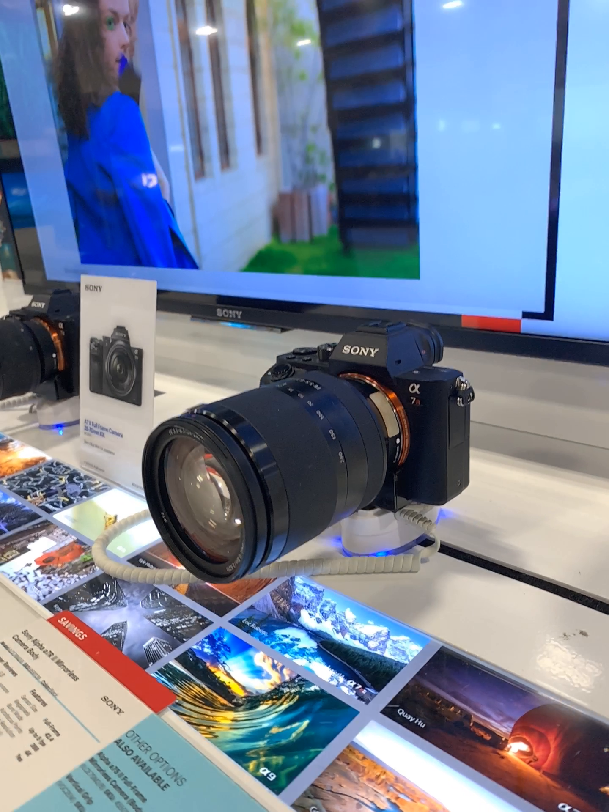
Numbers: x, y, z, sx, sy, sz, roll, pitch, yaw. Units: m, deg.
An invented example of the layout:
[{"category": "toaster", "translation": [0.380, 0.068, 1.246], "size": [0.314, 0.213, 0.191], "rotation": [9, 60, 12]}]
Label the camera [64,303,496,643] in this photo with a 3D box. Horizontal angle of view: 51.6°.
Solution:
[{"category": "camera", "translation": [0.001, 0.010, 0.330], "size": [0.128, 0.091, 0.184], "rotation": [10, 24, 38]}]
